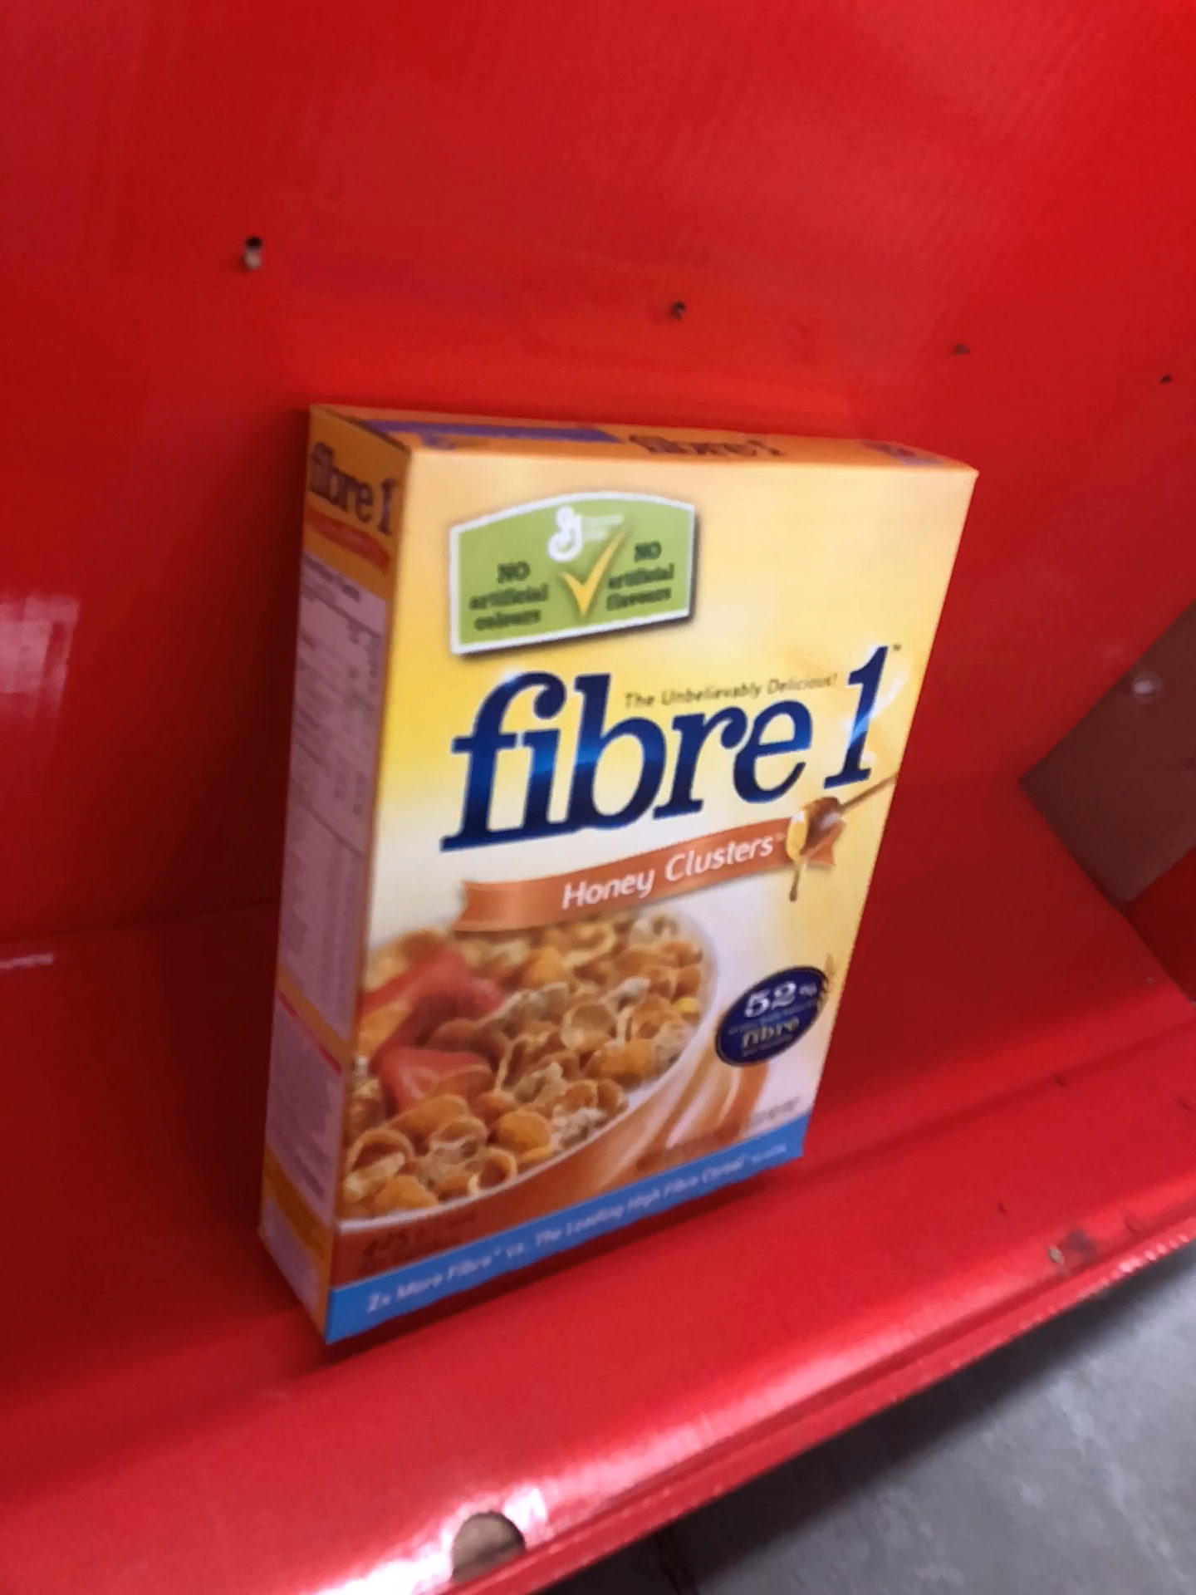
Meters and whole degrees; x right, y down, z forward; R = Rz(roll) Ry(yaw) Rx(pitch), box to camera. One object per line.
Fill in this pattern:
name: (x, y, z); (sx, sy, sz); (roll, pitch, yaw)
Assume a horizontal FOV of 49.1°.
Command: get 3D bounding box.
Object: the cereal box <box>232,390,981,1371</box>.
cereal box: (0.000, 0.020, 0.418); (0.211, 0.269, 0.060); (-9, 27, -36)
